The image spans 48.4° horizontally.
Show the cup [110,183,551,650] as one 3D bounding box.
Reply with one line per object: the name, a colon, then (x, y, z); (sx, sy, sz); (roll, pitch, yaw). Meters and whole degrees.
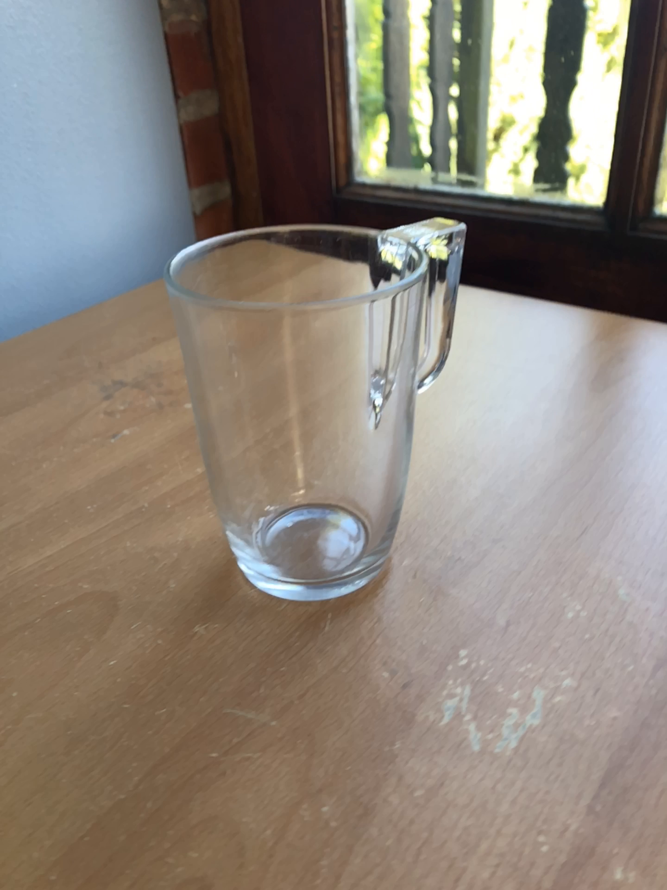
cup: (0.002, -0.017, 0.244); (0.104, 0.103, 0.078); (-24, 37, -29)
